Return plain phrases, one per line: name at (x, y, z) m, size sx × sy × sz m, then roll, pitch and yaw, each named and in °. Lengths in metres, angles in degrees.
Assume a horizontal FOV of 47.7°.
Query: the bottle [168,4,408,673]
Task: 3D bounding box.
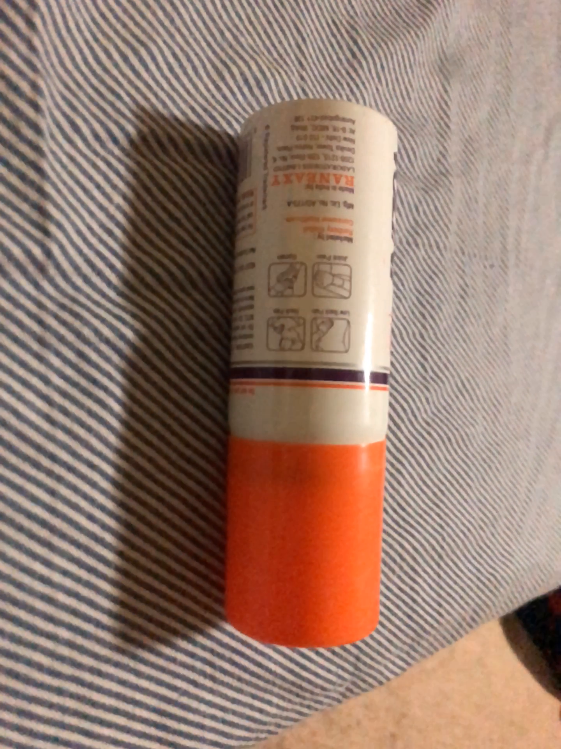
bottle at (0.005, -0.007, 0.137) m, size 0.040 × 0.040 × 0.120 m, roll 9°, pitch 83°, yaw -79°
